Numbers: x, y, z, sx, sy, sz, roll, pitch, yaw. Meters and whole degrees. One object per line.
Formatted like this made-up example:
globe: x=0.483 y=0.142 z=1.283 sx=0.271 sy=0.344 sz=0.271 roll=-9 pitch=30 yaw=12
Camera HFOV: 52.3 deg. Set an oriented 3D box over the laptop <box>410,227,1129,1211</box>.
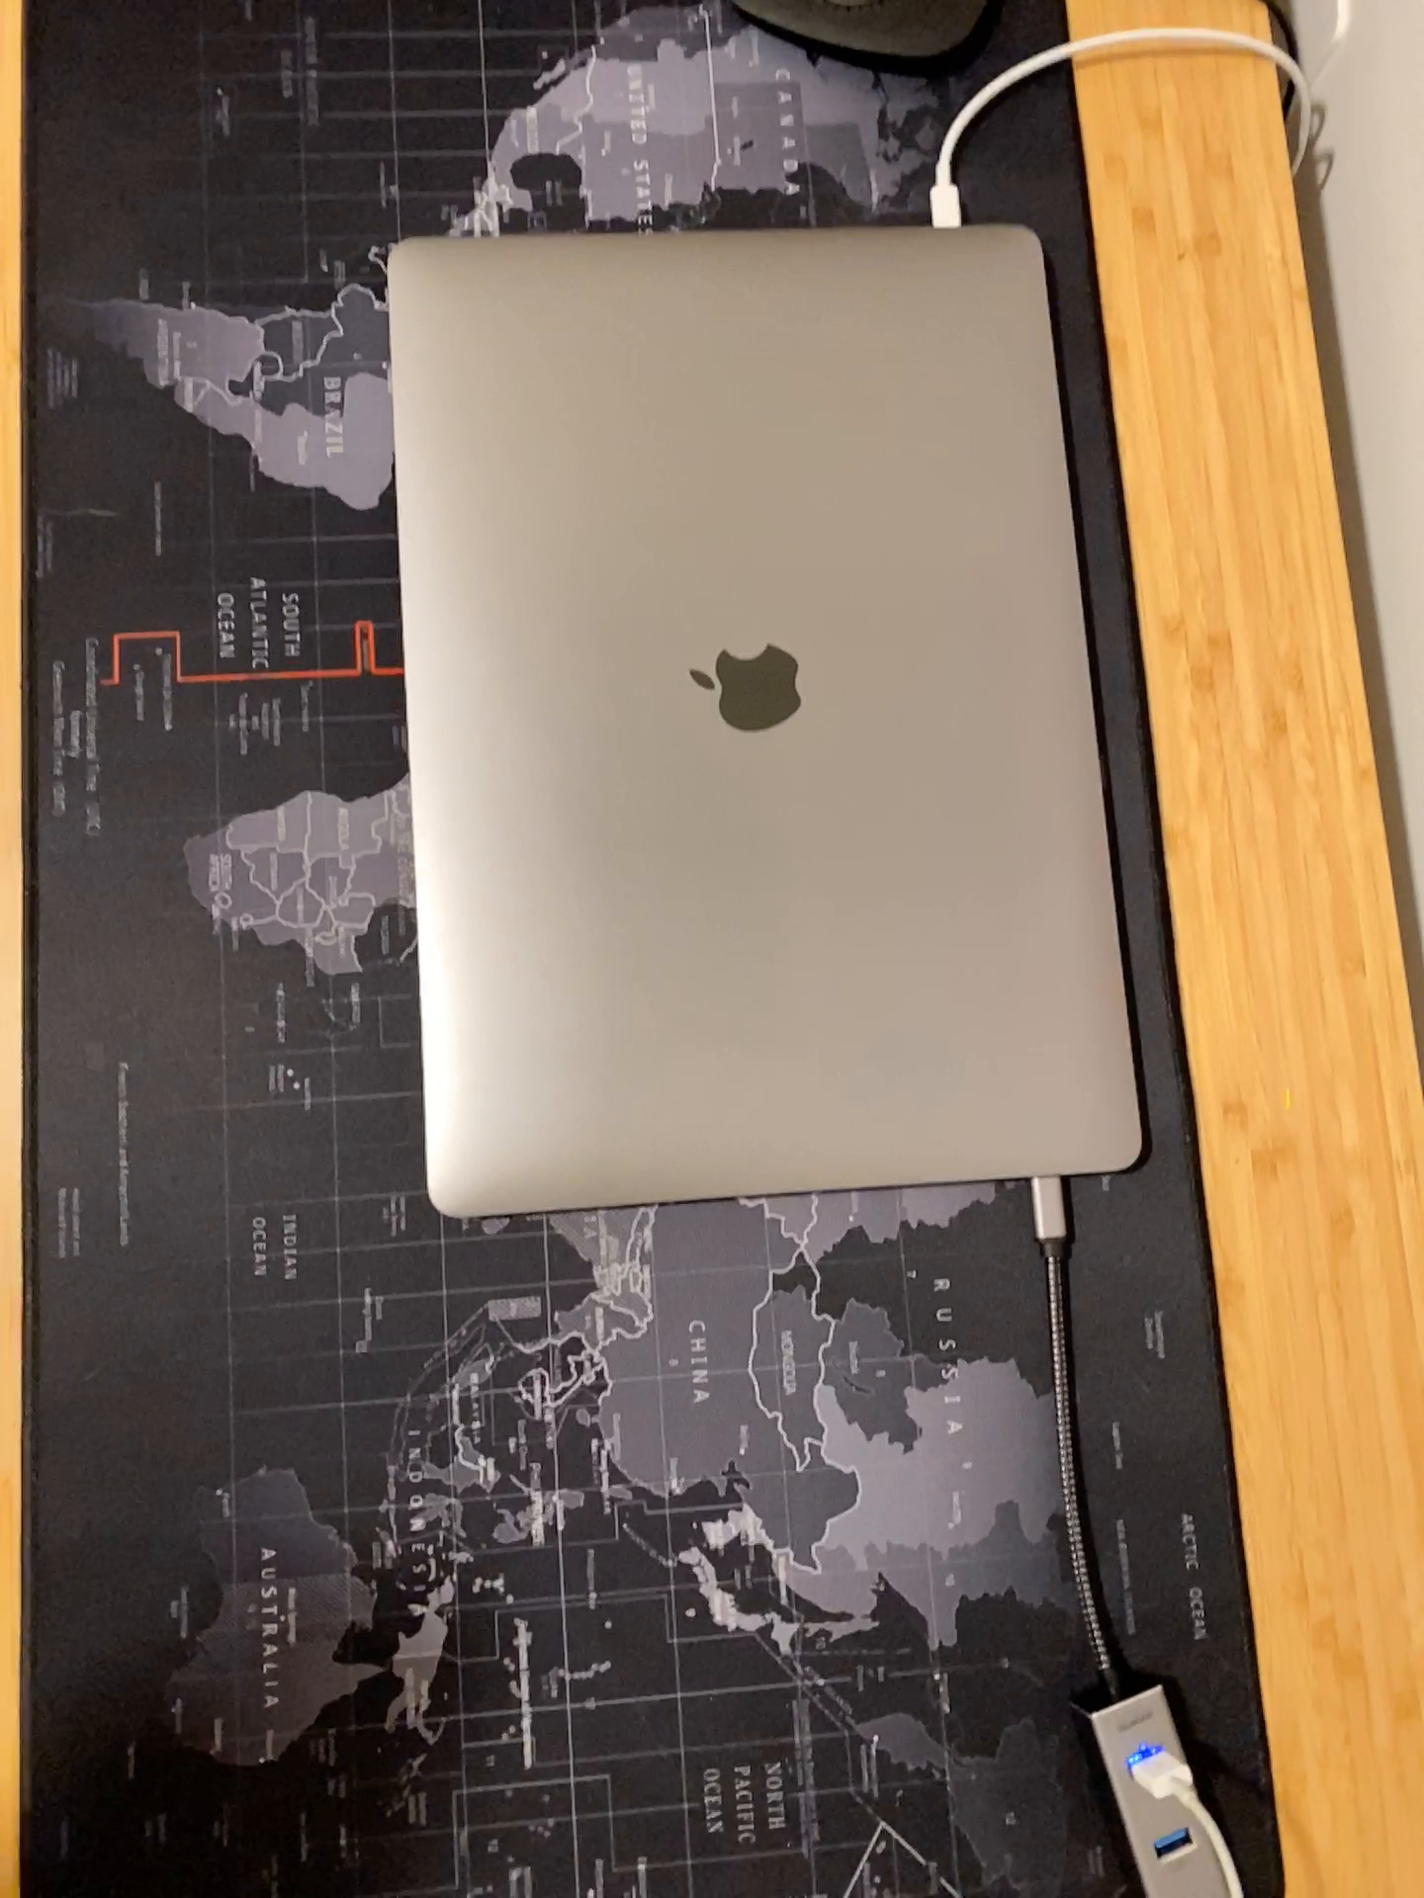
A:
laptop: x=0.014 y=-0.090 z=0.495 sx=0.226 sy=0.002 sz=0.336 roll=-3 pitch=81 yaw=-3
